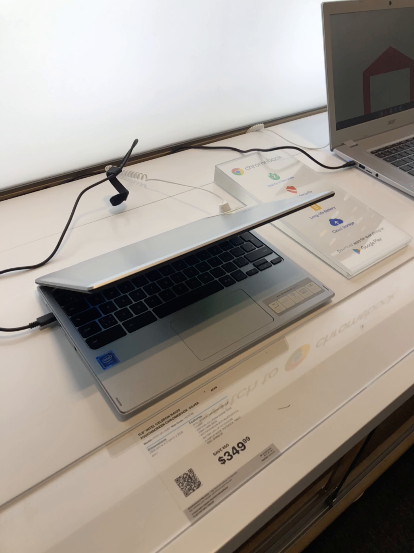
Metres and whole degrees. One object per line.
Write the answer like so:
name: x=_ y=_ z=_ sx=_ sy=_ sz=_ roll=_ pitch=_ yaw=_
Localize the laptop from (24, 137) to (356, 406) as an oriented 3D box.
laptop: x=-0.016 y=-0.031 z=0.500 sx=0.280 sy=0.123 sz=0.192 roll=-24 pitch=49 yaw=-30
